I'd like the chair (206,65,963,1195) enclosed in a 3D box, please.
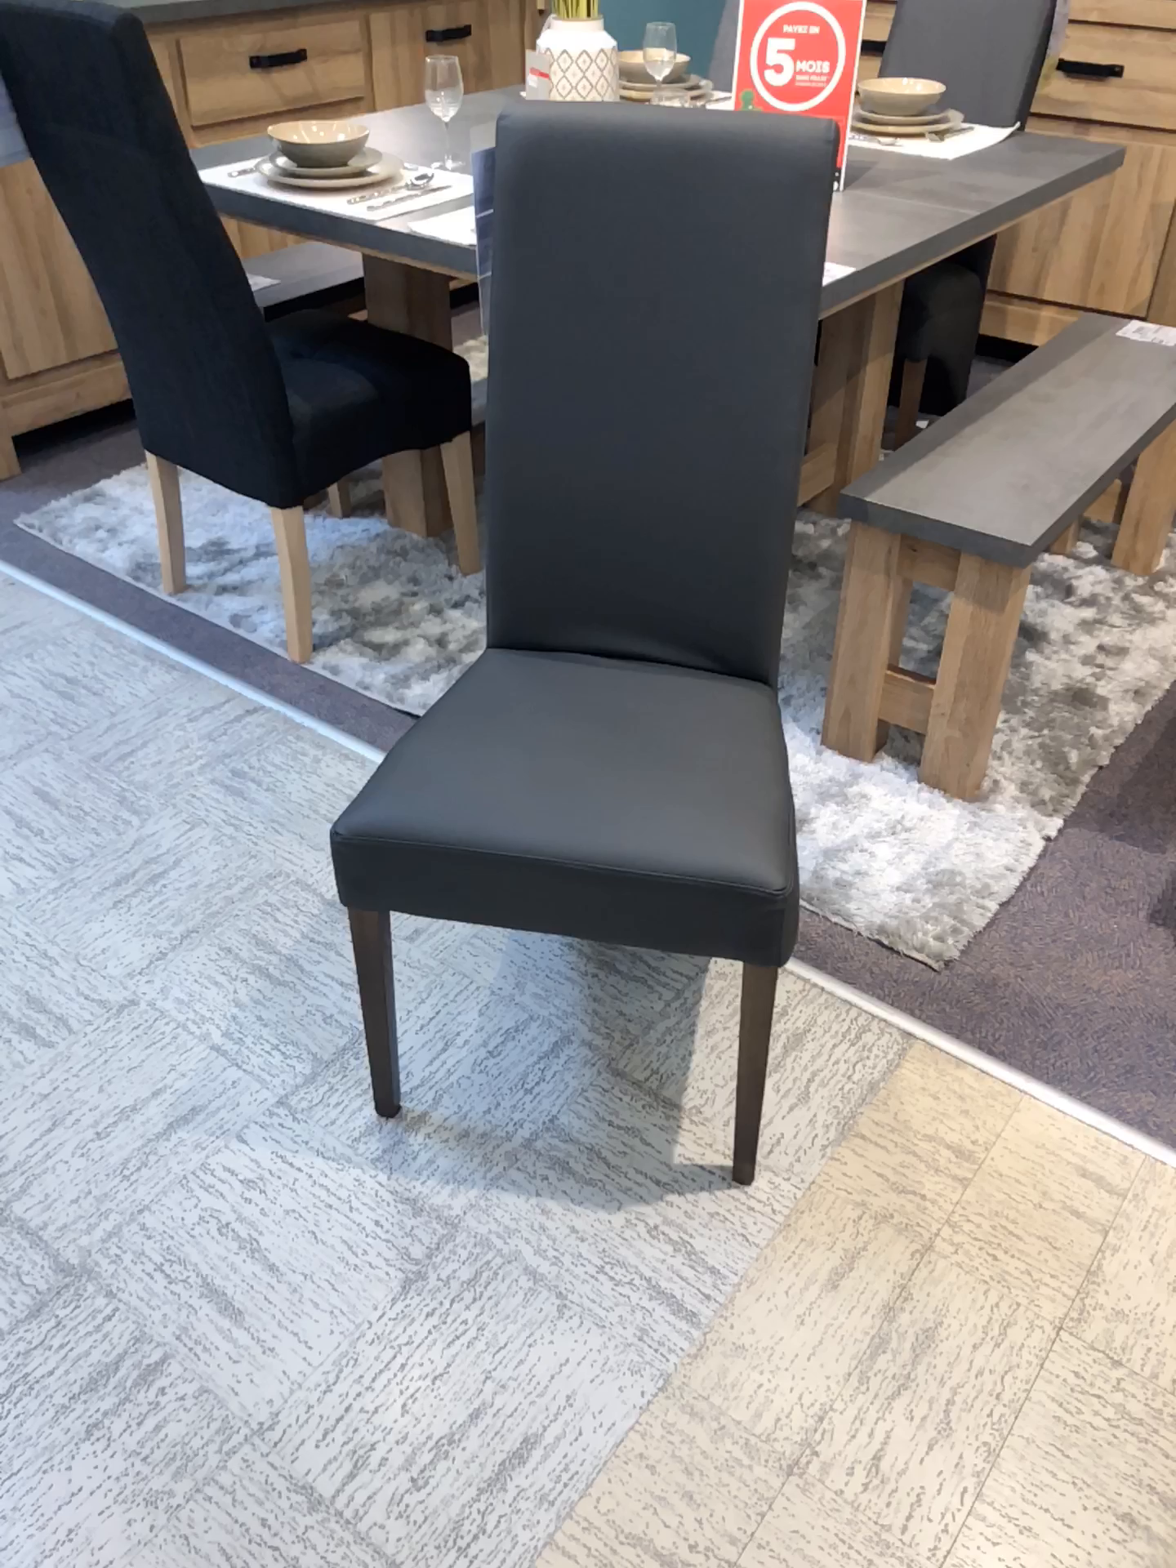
[{"bbox_3d":[0.037,-0.152,1.390,0.520,1.014,0.574,7,37,9],"label":"chair"}]
